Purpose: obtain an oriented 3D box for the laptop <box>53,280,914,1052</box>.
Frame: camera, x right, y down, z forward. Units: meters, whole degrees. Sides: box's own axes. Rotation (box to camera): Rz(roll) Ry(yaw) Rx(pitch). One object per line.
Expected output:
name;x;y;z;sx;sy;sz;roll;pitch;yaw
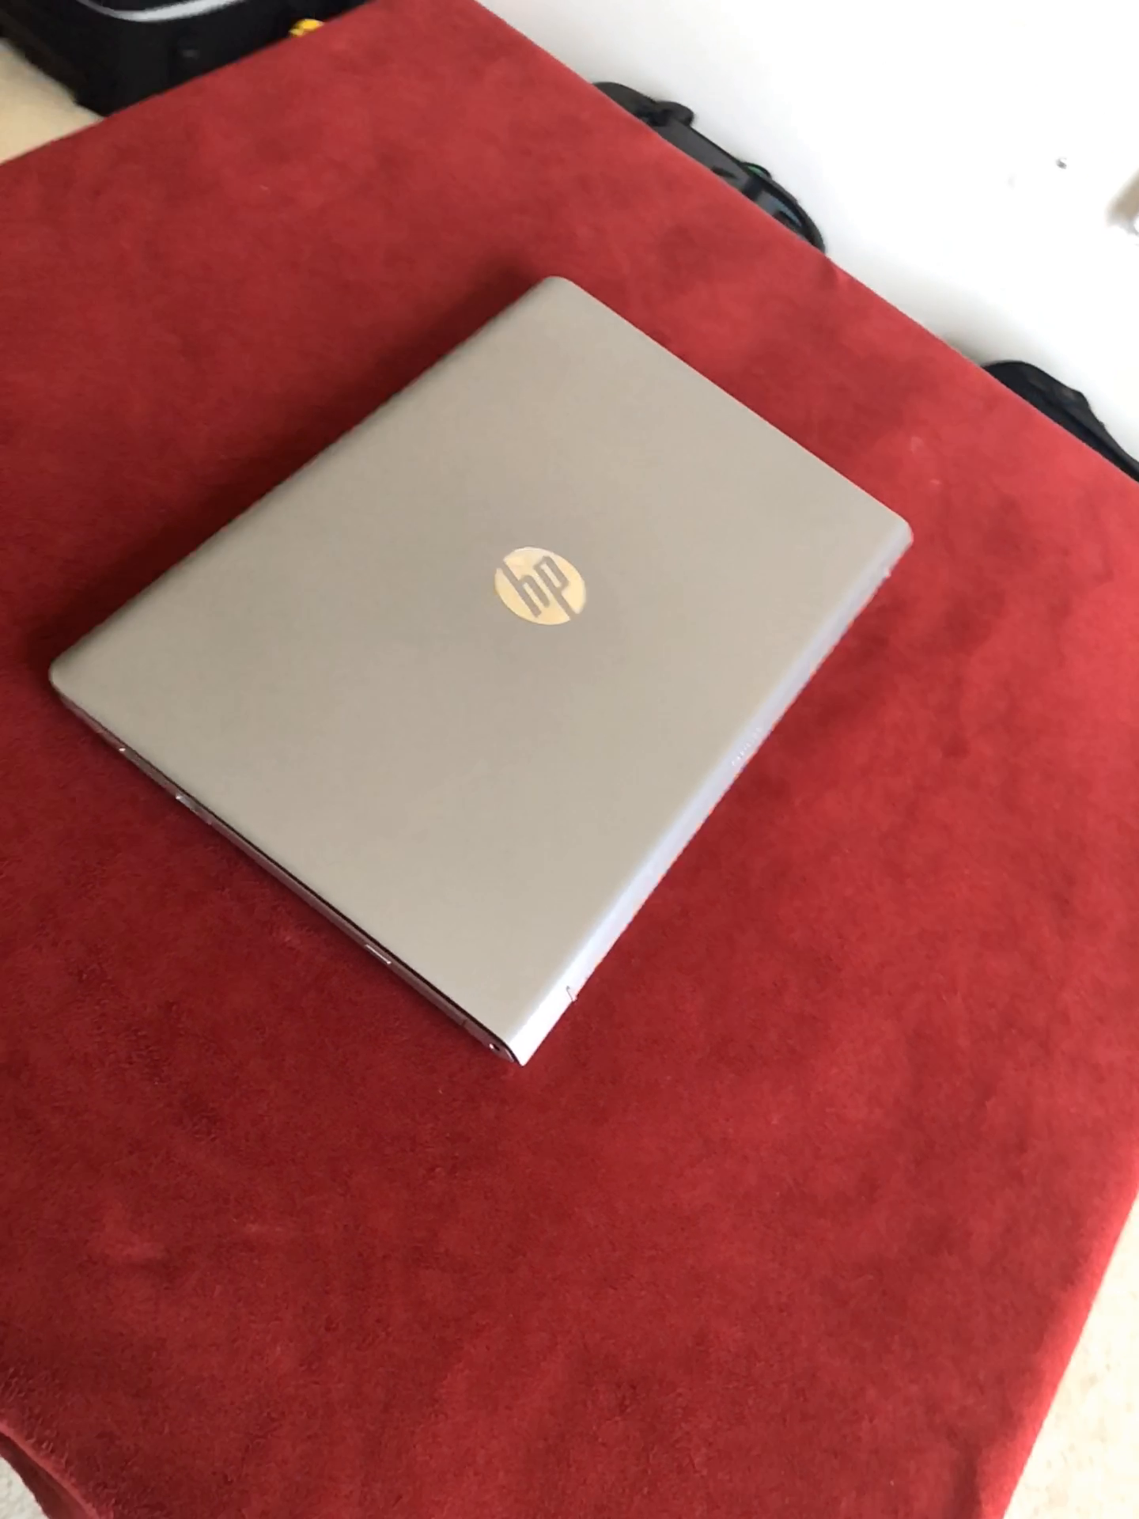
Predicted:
laptop;-0.012;-0.078;0.592;0.233;0.006;0.373;37;57;7
